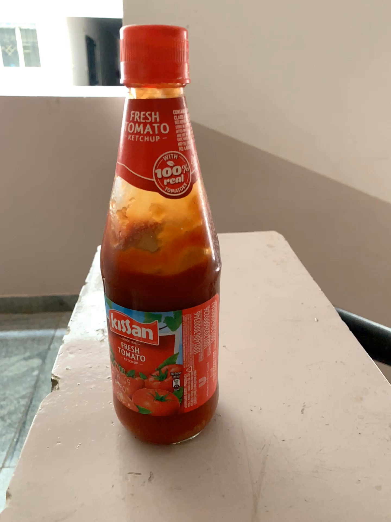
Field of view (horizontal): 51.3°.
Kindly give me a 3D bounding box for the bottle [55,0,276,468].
[{"bbox_3d":[-0.013,-0.008,0.223,0.070,0.218,0.070,1,23,0],"label":"bottle"}]
